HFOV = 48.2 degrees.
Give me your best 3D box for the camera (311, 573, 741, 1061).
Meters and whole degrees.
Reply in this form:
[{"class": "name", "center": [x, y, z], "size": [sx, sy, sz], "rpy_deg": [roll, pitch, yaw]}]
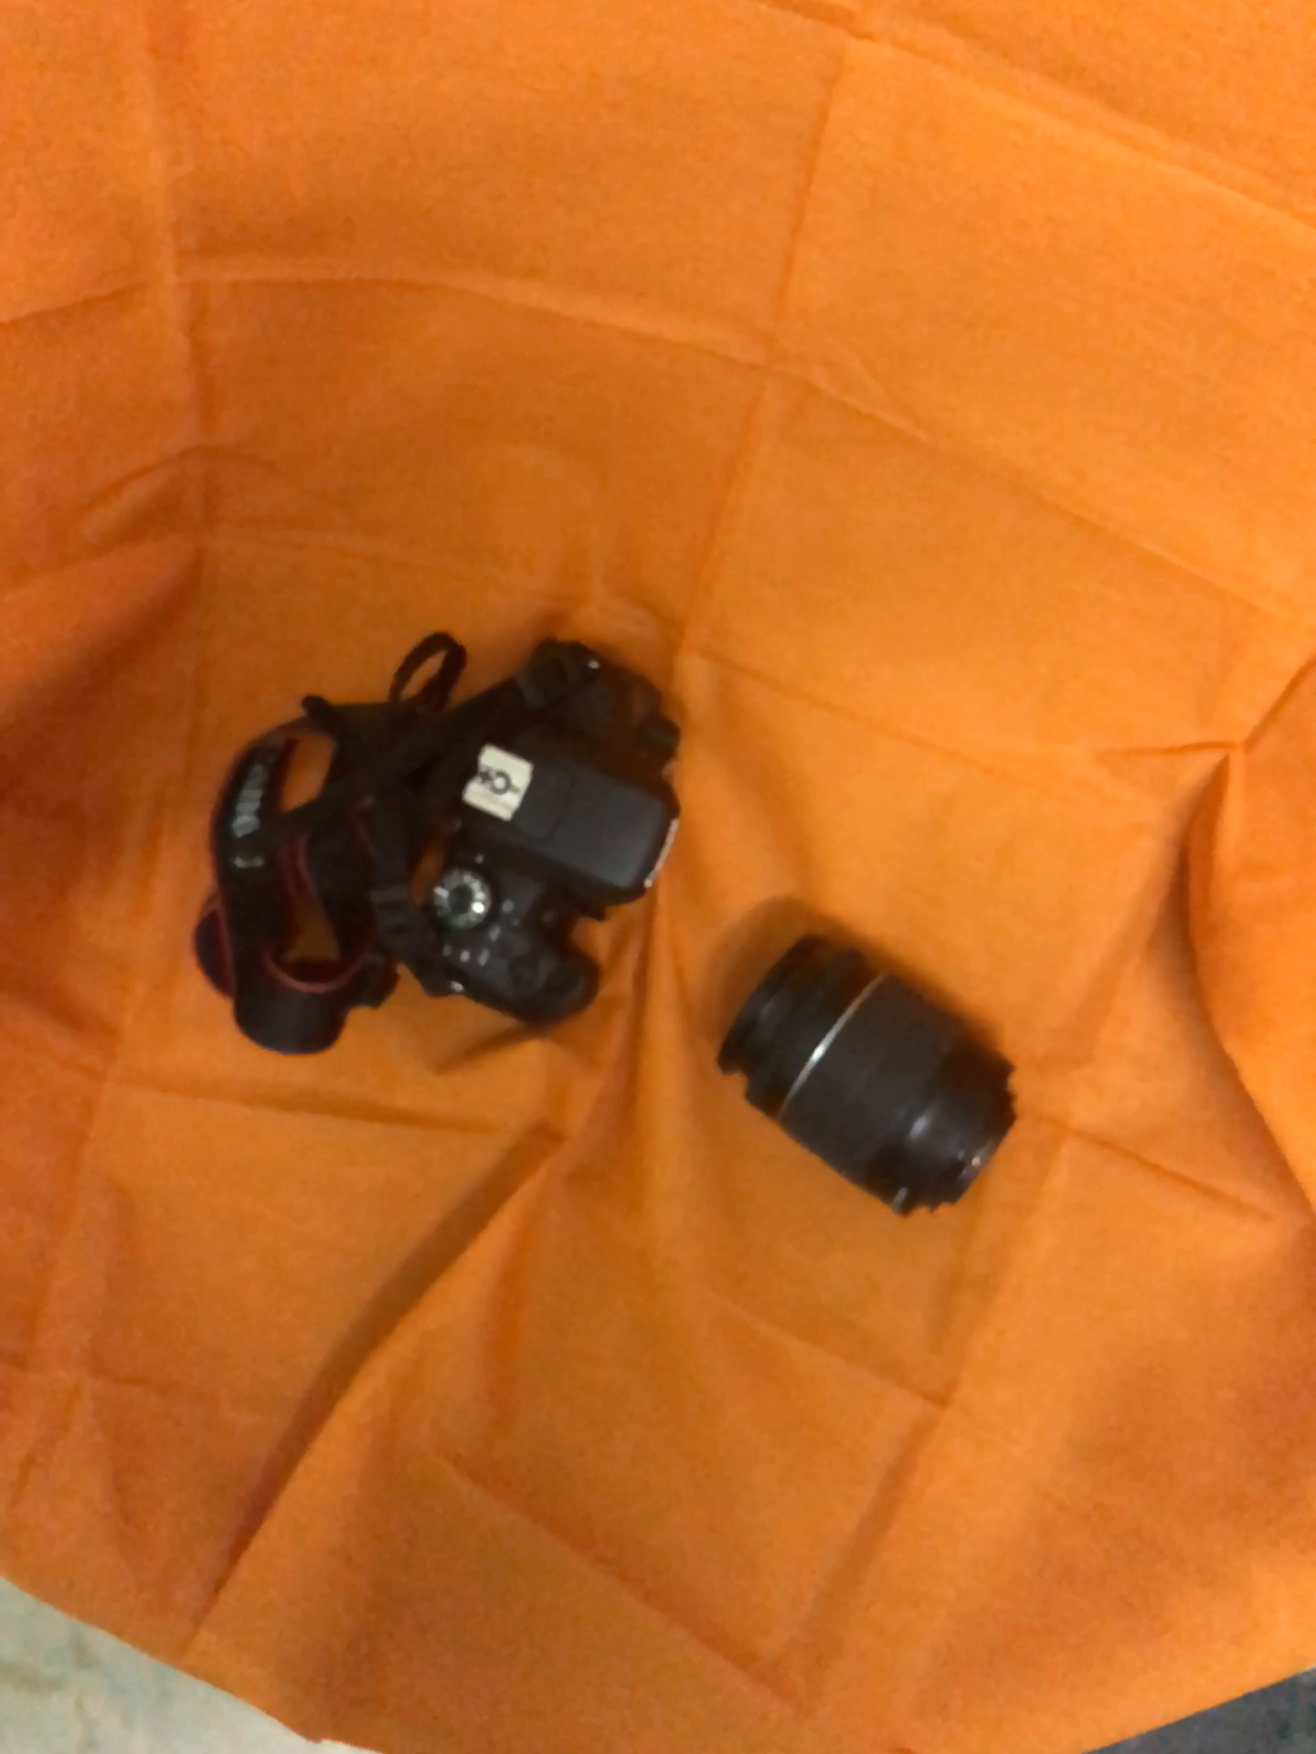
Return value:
[{"class": "camera", "center": [-0.042, -0.019, 0.512], "size": [0.092, 0.072, 0.133], "rpy_deg": [24, 90, 6]}]
